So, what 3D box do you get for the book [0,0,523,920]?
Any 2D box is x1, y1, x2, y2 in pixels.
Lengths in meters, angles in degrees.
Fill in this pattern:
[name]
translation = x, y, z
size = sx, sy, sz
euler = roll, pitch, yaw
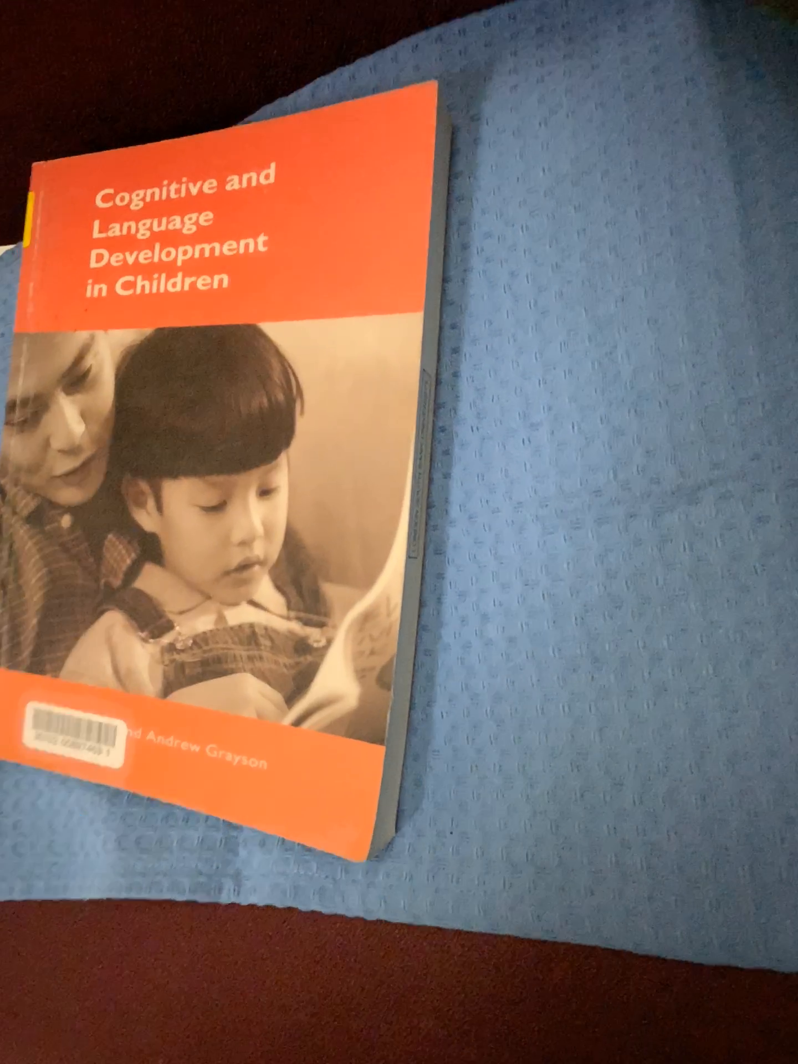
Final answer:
[book]
translation = -0.067, -0.028, 0.314
size = 0.201, 0.060, 0.270
euler = 4, 89, 31
